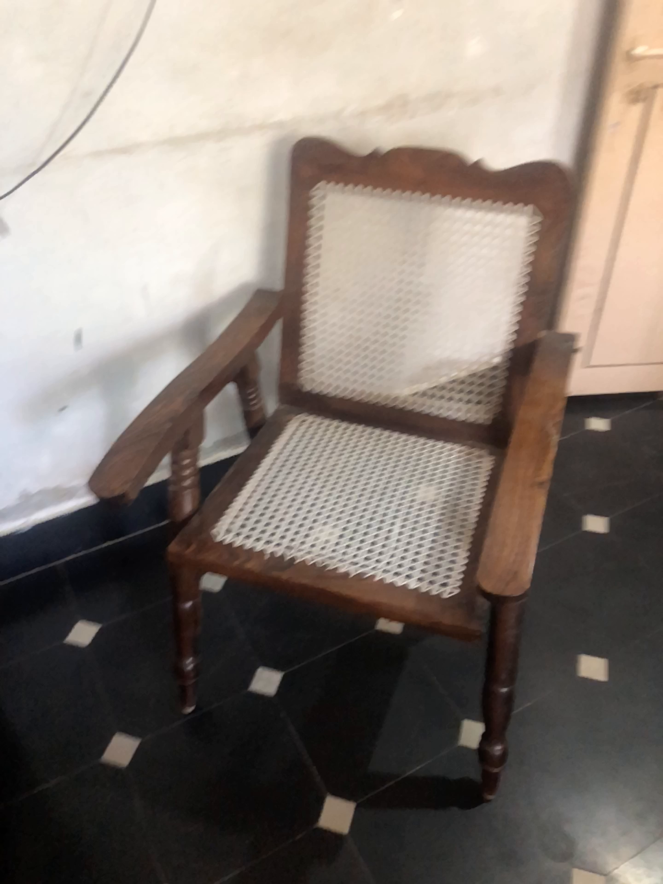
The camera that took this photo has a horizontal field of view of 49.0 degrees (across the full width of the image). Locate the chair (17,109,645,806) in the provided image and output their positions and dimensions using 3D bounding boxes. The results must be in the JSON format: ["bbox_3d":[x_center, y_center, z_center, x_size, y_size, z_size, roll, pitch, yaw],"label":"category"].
[{"bbox_3d":[0.058,0.015,1.105,0.580,0.796,0.563,10,41,13],"label":"chair"}]
